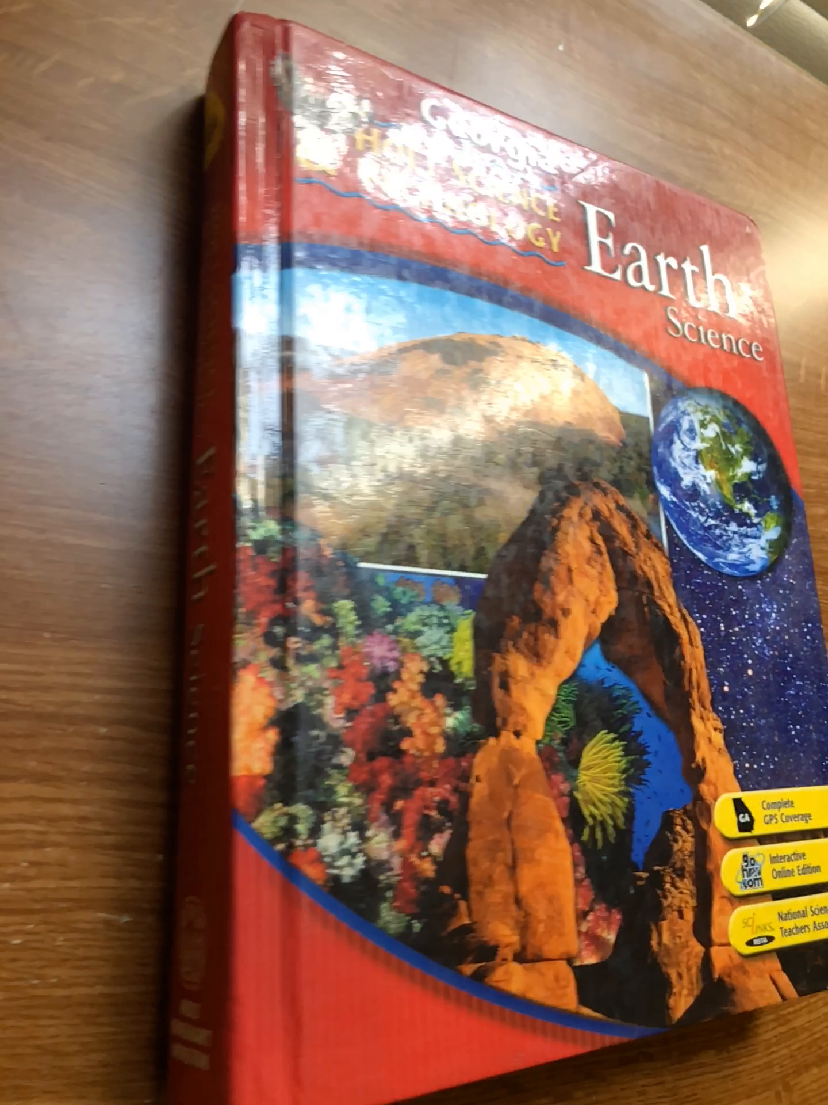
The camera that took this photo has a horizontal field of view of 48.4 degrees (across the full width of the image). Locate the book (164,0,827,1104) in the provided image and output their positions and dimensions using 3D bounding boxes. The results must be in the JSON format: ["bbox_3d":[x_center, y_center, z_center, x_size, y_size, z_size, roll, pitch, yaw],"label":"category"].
[{"bbox_3d":[0.043,0.004,0.273,0.215,0.050,0.266,7,72,-32],"label":"book"}]
